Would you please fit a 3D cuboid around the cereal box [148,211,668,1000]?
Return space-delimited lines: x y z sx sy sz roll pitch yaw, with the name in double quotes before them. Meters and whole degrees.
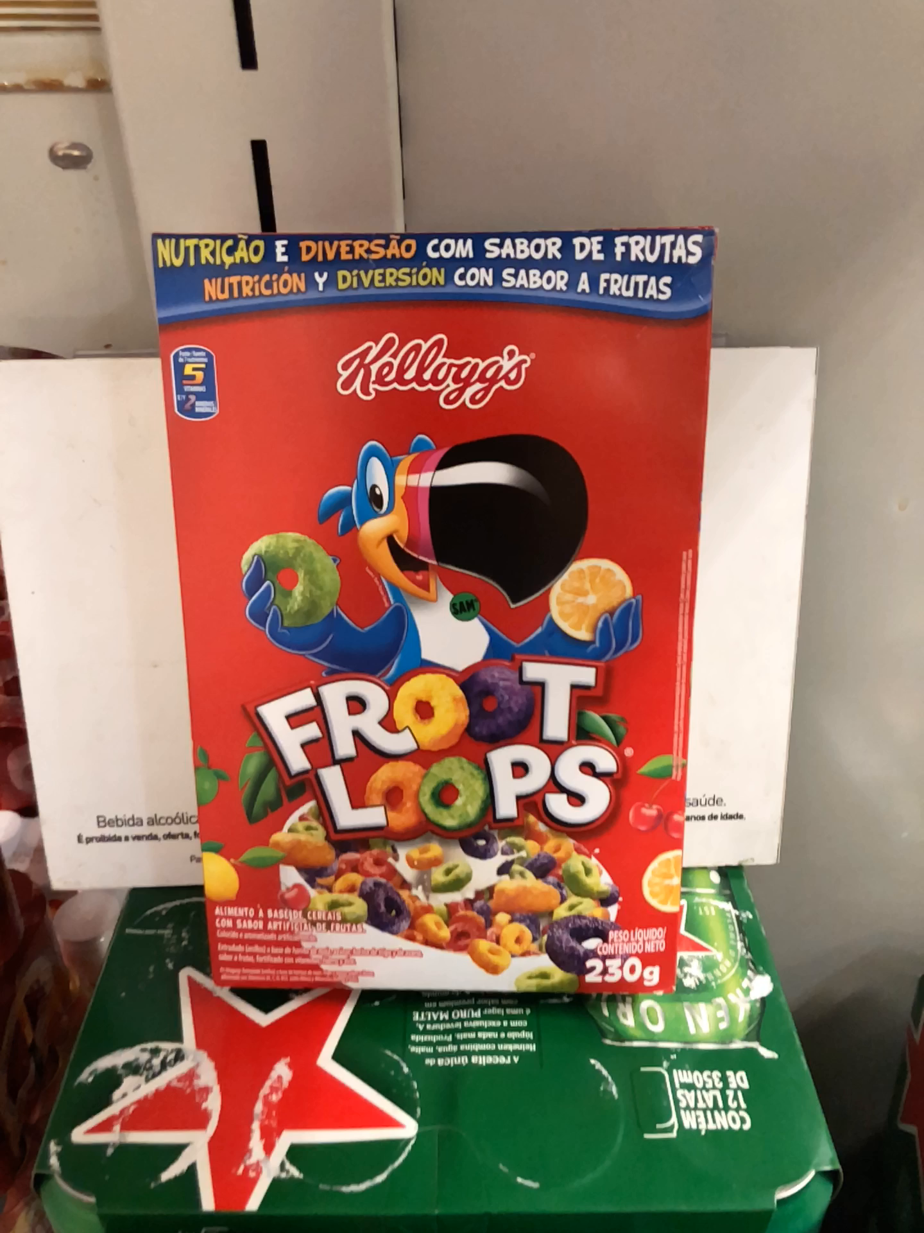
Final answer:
"cereal box" -0.014 0.001 0.356 0.150 0.259 0.060 0 15 2
